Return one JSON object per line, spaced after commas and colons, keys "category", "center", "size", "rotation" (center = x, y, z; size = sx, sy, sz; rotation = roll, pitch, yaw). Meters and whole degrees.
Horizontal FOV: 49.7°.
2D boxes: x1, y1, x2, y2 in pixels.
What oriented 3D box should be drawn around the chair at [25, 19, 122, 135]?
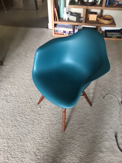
{"category": "chair", "center": [0.091, -0.030, 1.278], "size": [0.571, 0.844, 0.483], "rotation": [35, 53, 29]}
